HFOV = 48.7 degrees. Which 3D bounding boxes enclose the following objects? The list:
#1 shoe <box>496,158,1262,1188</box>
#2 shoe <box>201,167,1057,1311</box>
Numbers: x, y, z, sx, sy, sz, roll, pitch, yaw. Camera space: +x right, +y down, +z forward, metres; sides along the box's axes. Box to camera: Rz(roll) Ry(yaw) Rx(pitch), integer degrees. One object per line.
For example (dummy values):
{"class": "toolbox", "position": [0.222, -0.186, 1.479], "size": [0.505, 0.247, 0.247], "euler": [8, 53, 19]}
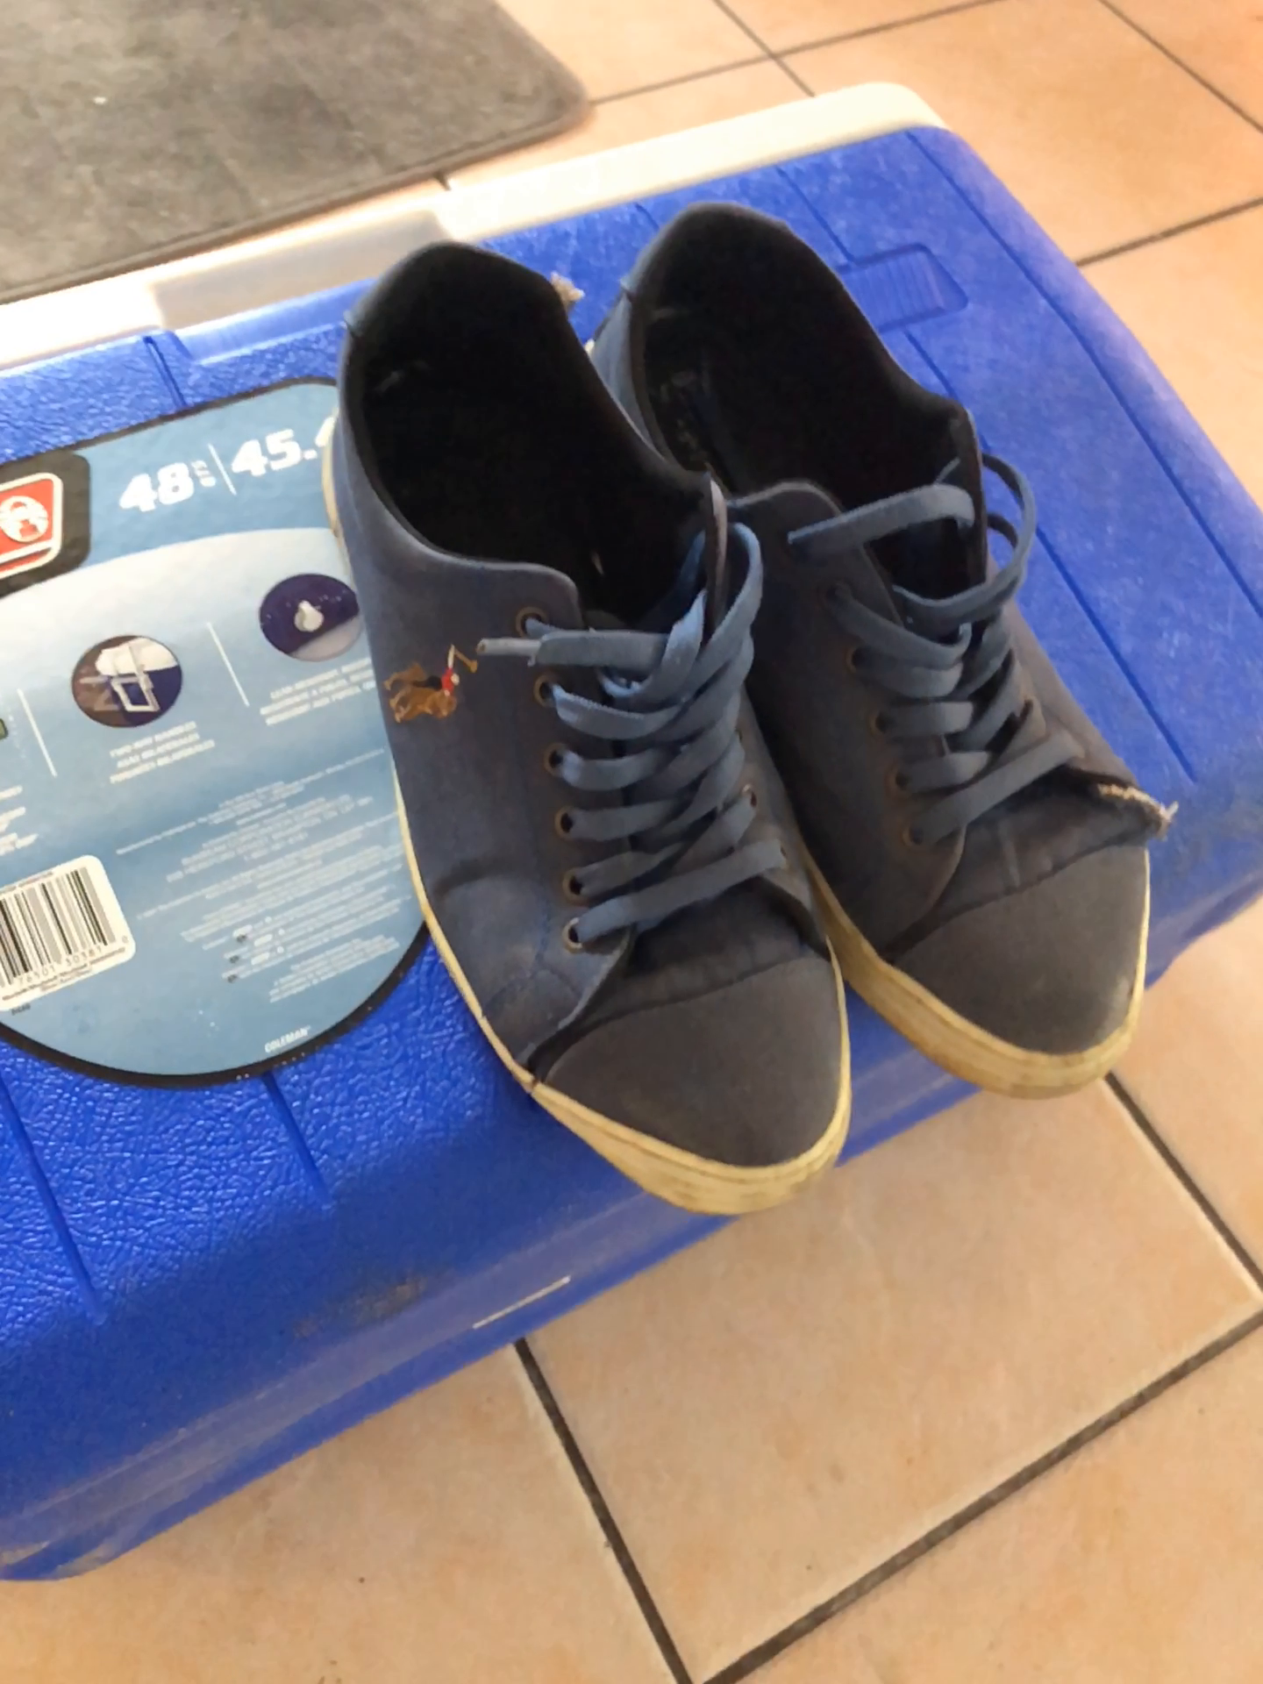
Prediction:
{"class": "shoe", "position": [0.070, -0.058, 0.395], "size": [0.107, 0.090, 0.271], "euler": [-24, 67, -18]}
{"class": "shoe", "position": [-0.016, -0.035, 0.365], "size": [0.107, 0.090, 0.271], "euler": [-18, 69, -15]}
